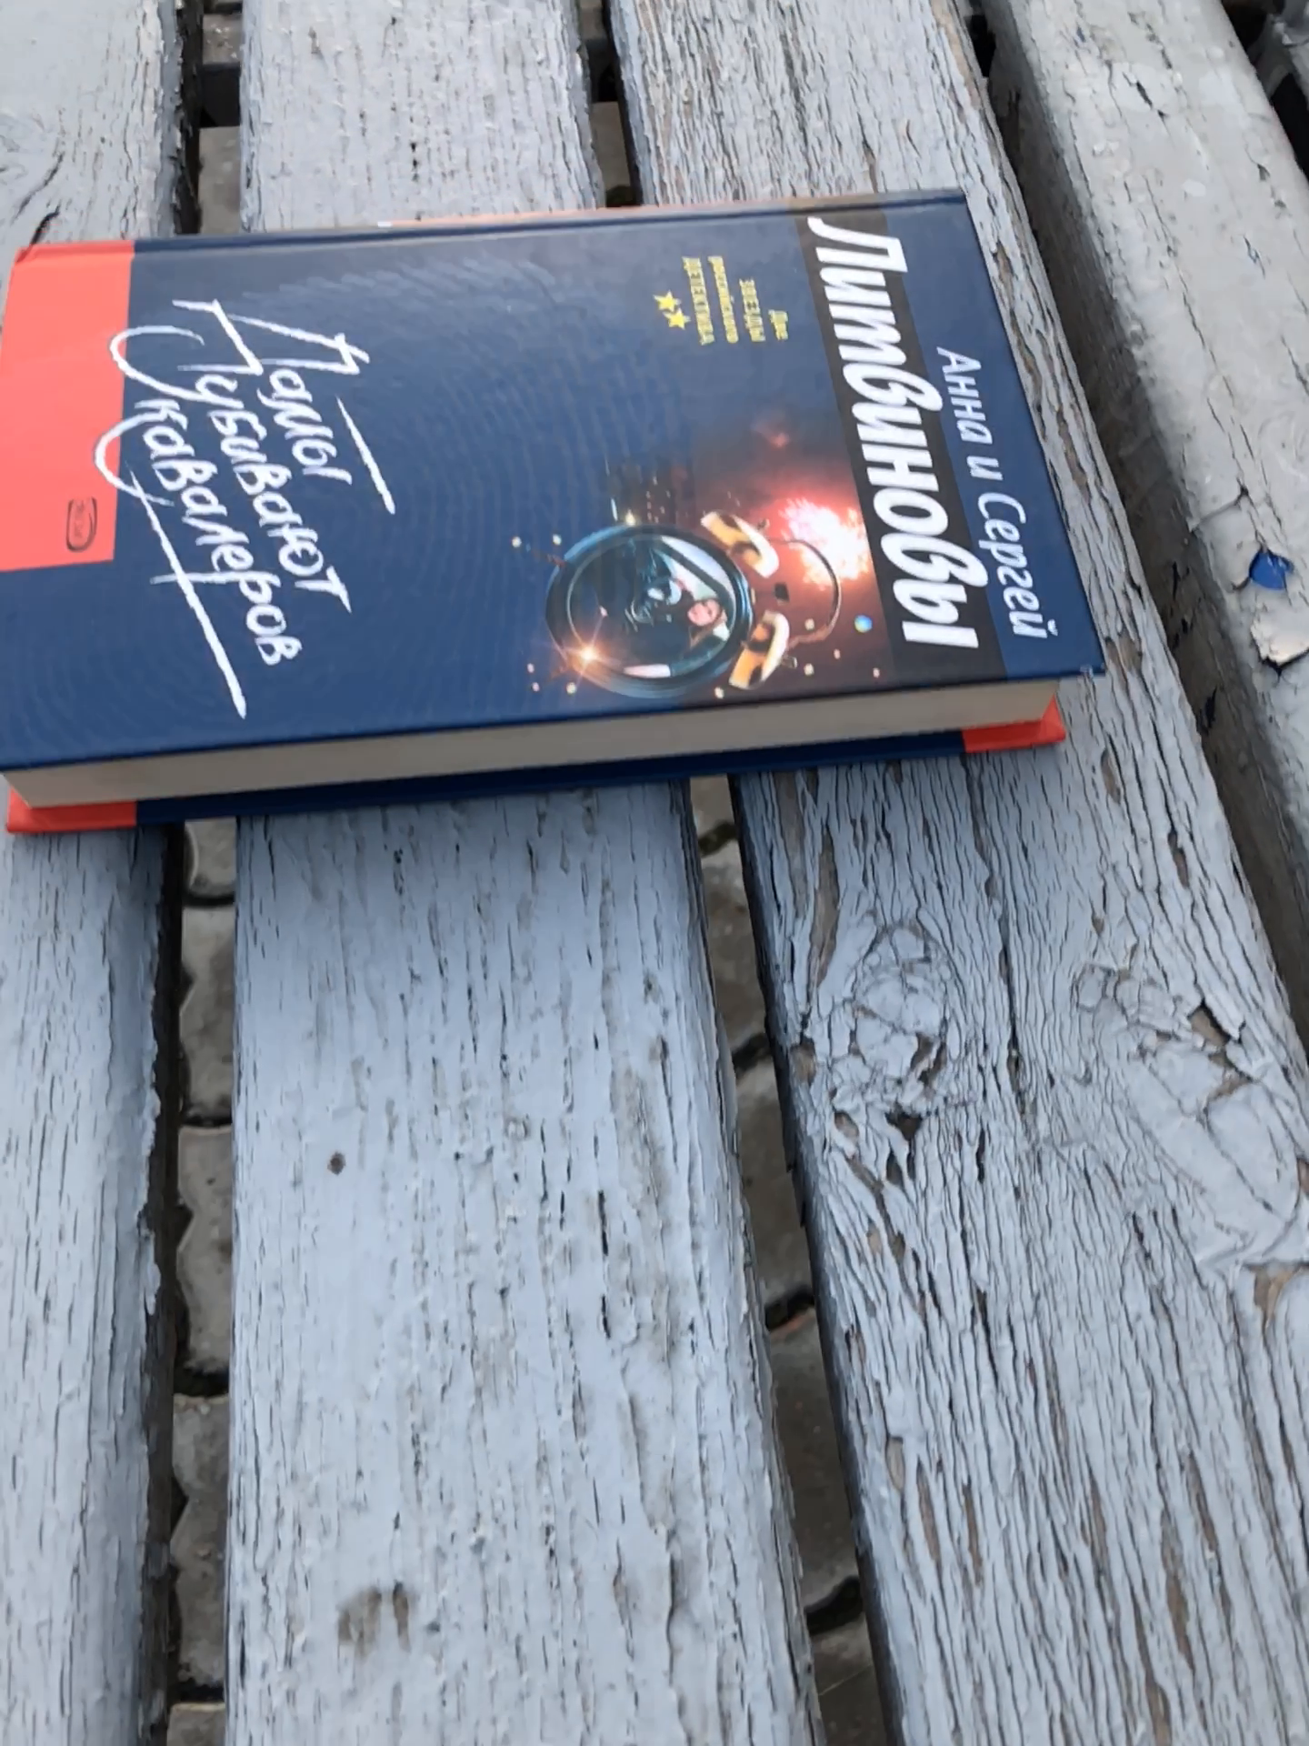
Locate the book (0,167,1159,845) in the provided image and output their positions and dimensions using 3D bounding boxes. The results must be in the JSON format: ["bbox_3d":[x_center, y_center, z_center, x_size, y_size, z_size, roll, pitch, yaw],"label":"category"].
[{"bbox_3d":[-0.021,-0.079,0.295,0.208,0.030,0.130,-5,64,-3],"label":"book"}]
